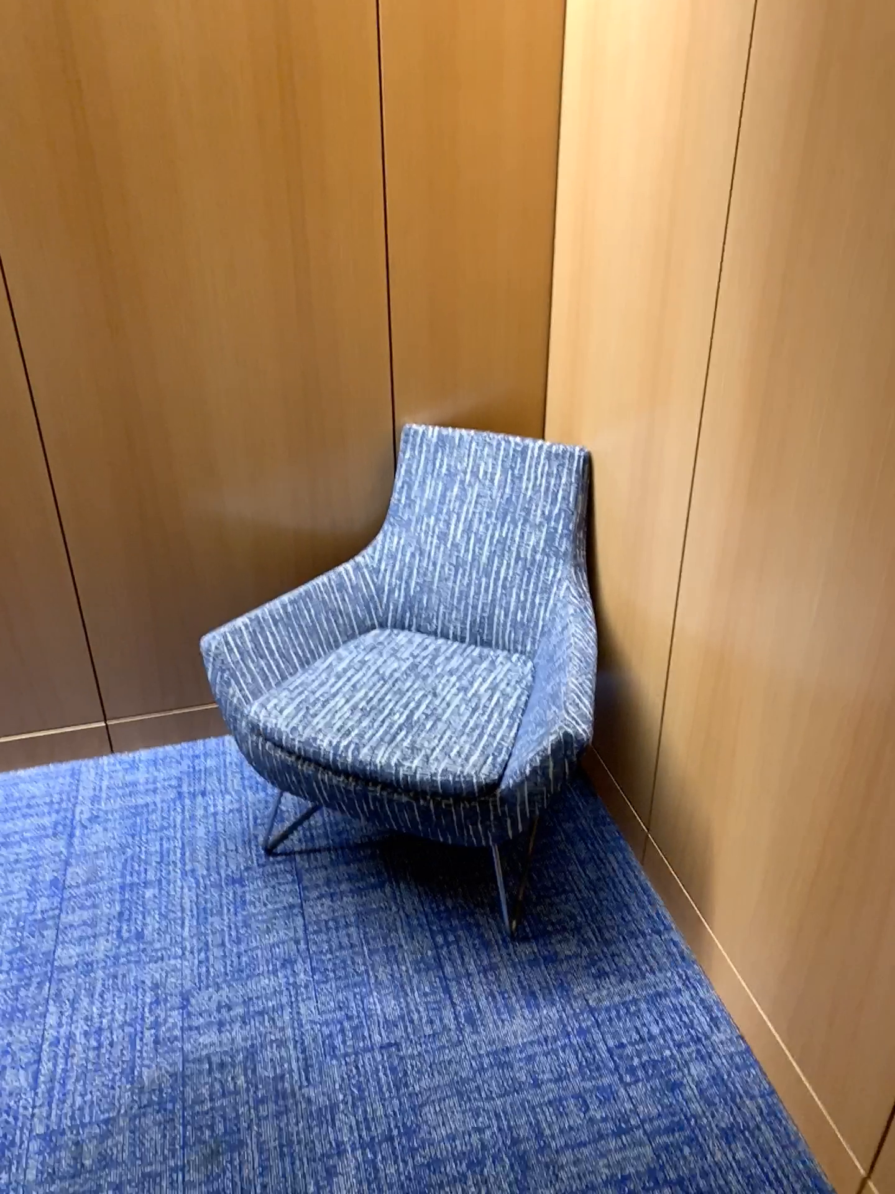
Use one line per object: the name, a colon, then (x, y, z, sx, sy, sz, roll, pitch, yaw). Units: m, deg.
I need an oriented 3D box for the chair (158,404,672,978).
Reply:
chair: (-0.016, 0.122, 1.748, 0.700, 0.746, 0.616, 11, 31, 19)
